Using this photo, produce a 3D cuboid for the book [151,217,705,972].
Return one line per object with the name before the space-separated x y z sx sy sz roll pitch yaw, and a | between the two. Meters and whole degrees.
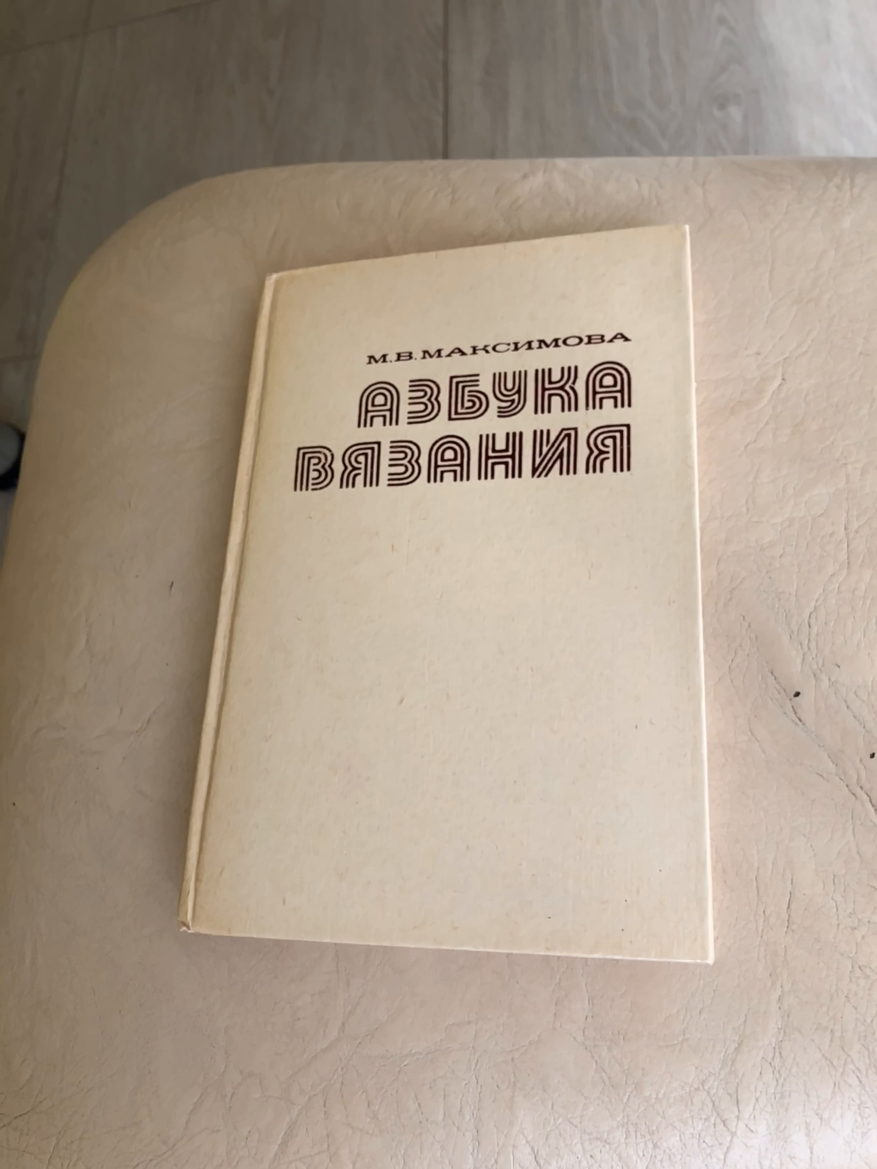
book | 0.001 -0.005 0.297 0.148 0.024 0.218 -2 70 16
